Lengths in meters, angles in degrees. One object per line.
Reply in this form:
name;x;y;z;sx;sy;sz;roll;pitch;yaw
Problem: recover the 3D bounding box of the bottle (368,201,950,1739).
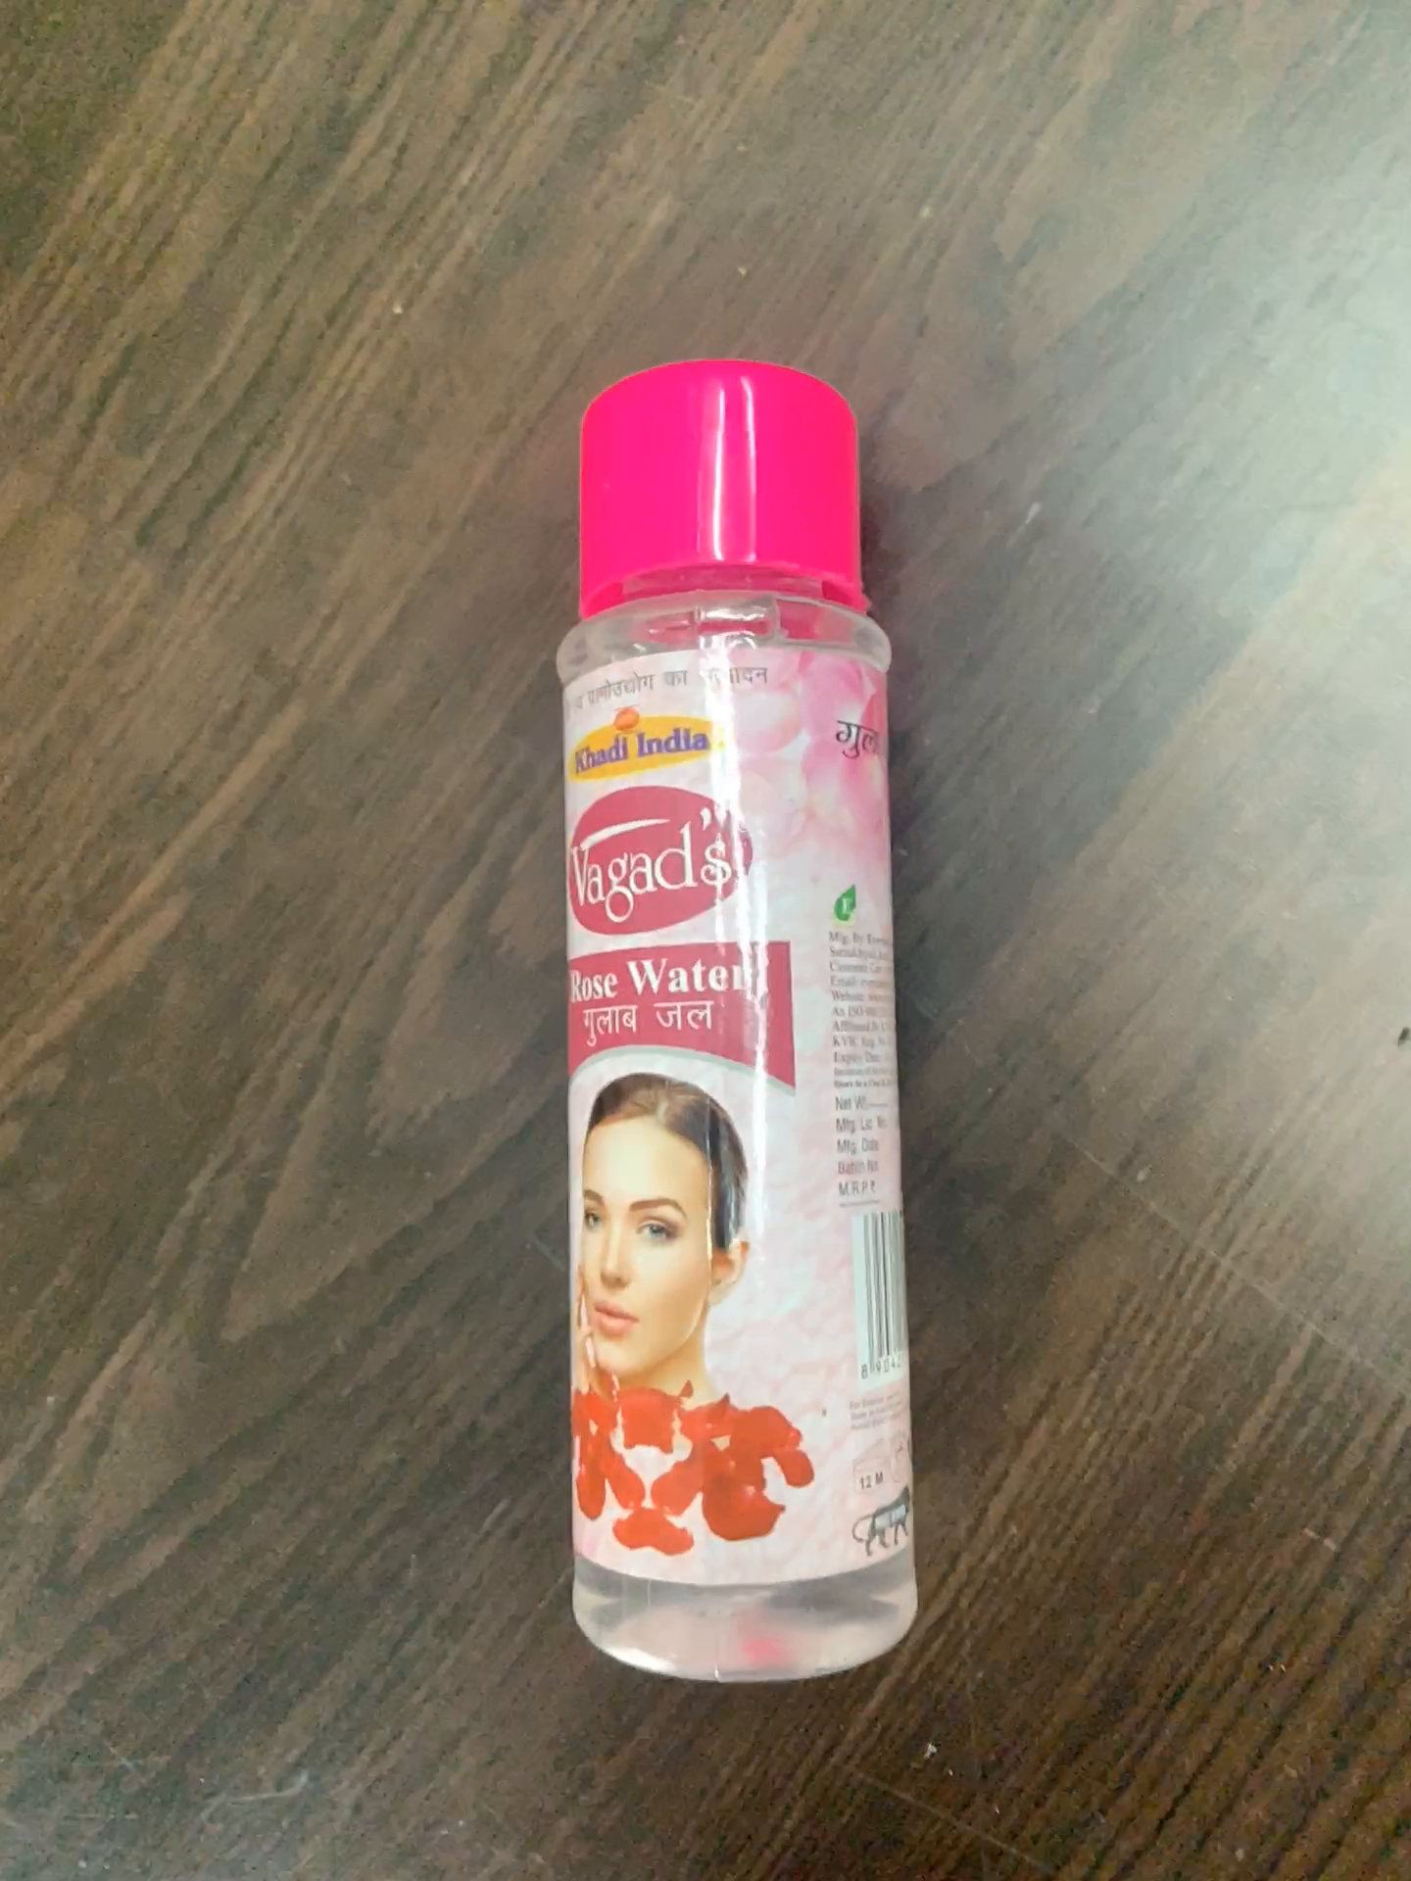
bottle;-0.004;0.003;0.163;0.050;0.040;0.140;-2;87;23
